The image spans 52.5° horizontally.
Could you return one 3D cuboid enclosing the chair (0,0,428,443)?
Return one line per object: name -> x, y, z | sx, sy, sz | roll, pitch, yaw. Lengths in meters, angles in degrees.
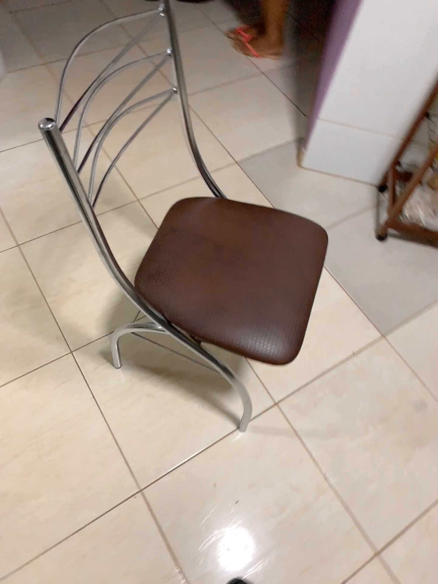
chair -> -0.019, -0.065, 0.971 | 0.483, 0.873, 0.421 | 20, 58, 6
